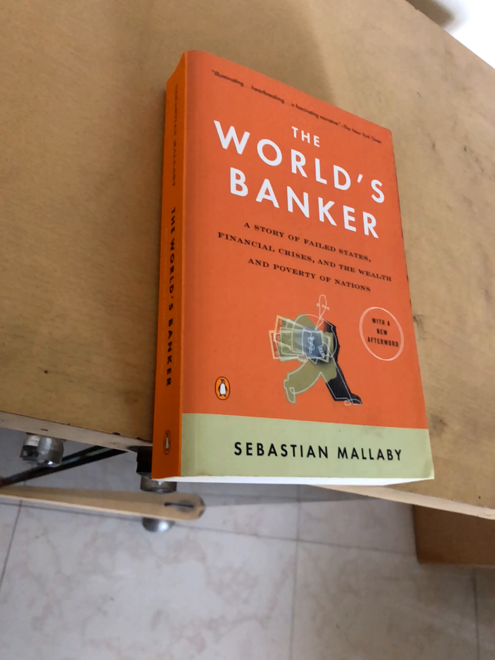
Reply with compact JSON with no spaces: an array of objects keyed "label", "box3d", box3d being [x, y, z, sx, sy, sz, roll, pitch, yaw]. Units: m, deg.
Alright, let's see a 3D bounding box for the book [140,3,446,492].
[{"label":"book","box3d":[0.025,-0.036,0.273,0.141,0.030,0.220,11,68,-30]}]
